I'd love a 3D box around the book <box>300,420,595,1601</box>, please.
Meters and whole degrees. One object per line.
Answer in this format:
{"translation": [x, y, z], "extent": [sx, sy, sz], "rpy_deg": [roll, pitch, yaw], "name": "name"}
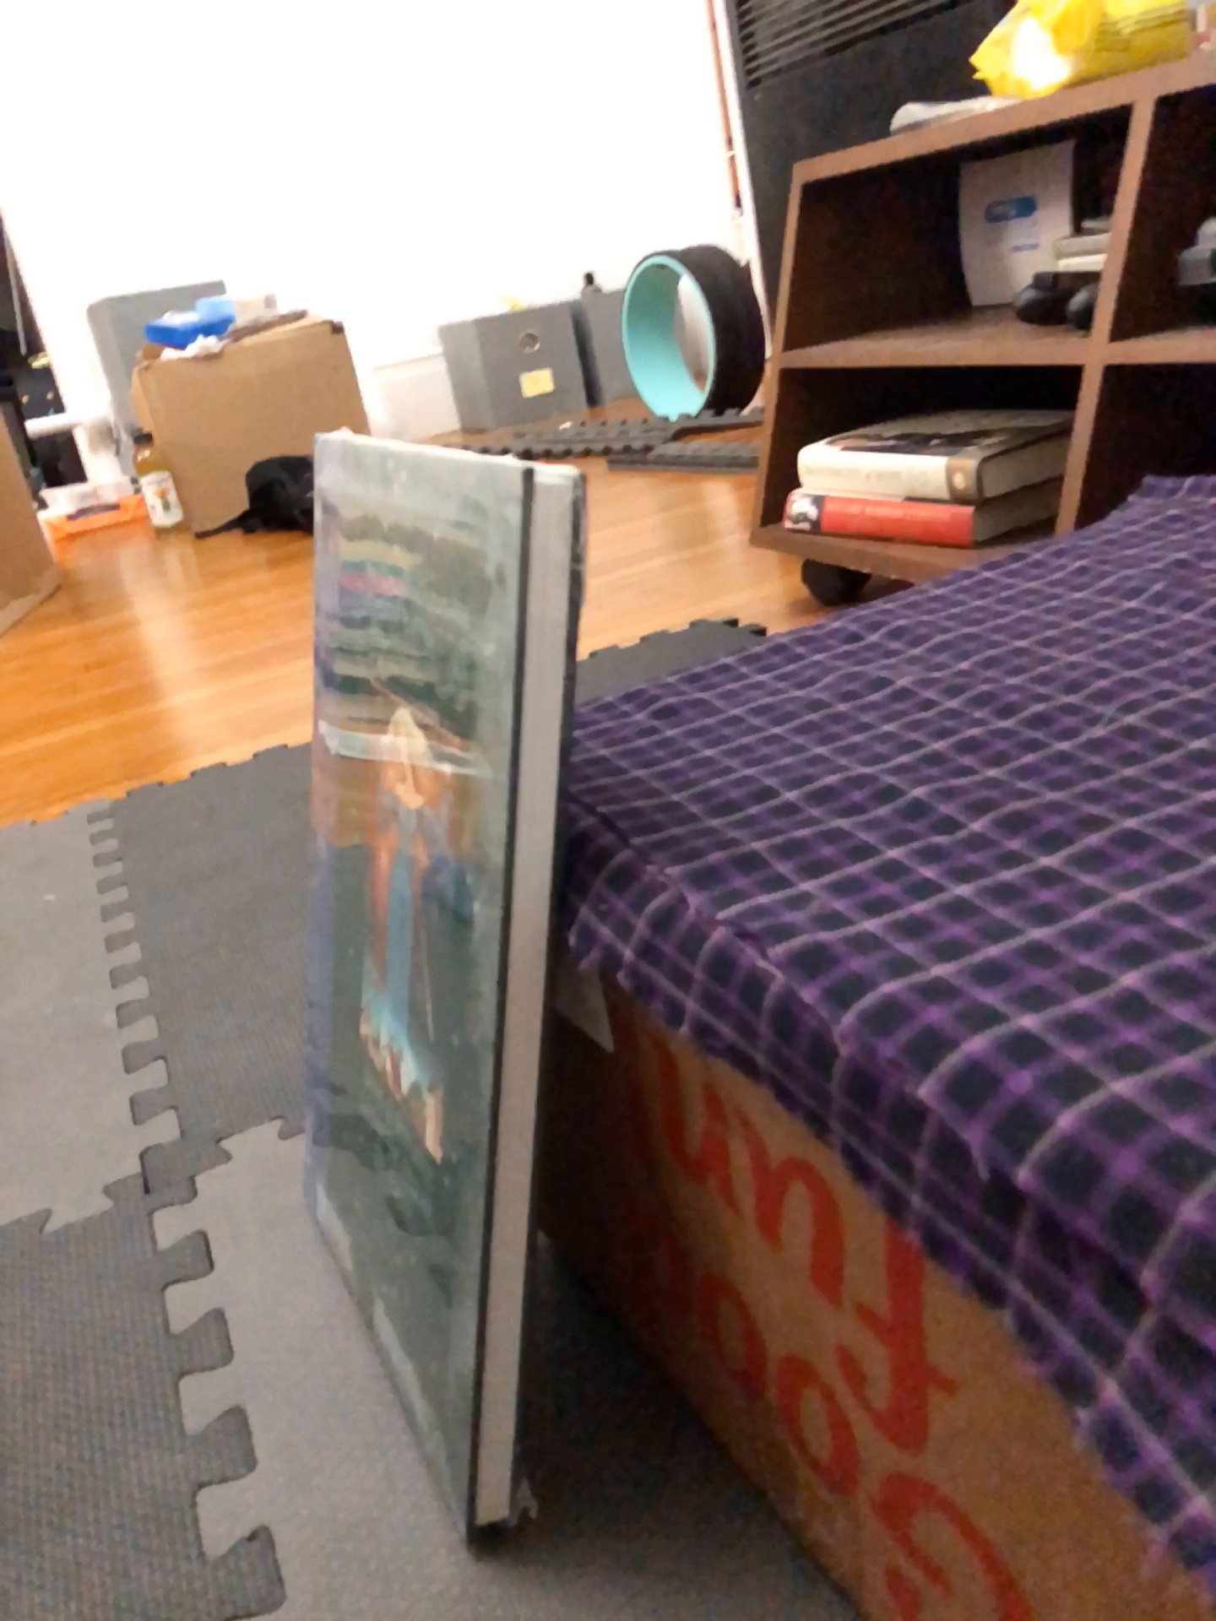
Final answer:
{"translation": [-0.067, 0.042, 0.443], "extent": [0.020, 0.329, 0.211], "rpy_deg": [-3, 16, -25], "name": "book"}
